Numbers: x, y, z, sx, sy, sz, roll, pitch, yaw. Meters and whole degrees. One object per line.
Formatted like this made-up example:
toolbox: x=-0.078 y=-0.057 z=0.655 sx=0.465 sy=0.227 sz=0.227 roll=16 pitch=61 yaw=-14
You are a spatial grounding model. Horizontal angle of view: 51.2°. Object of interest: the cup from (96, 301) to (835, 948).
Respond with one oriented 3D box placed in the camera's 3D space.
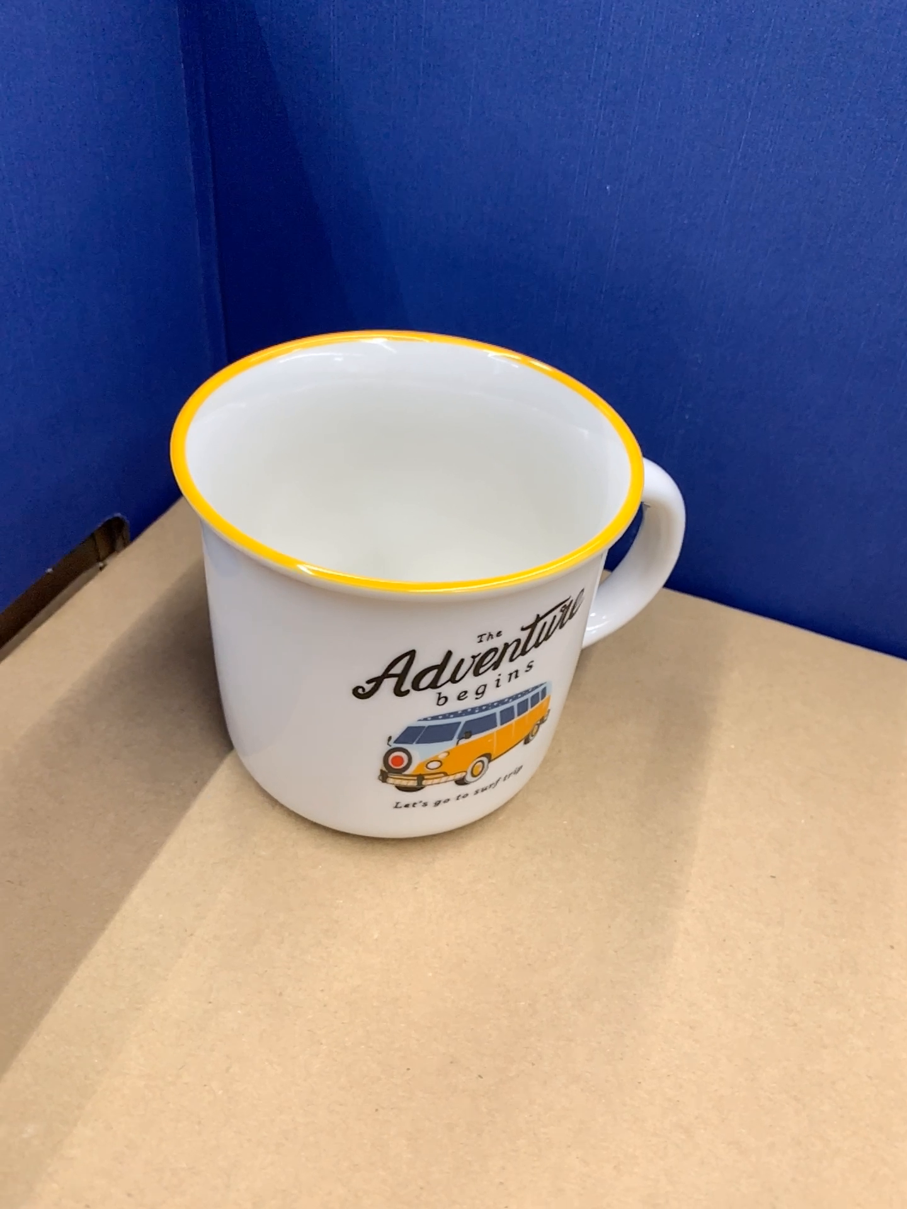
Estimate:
cup: x=-0.005 y=-0.006 z=0.224 sx=0.124 sy=0.083 sz=0.102 roll=-13 pitch=43 yaw=-22
